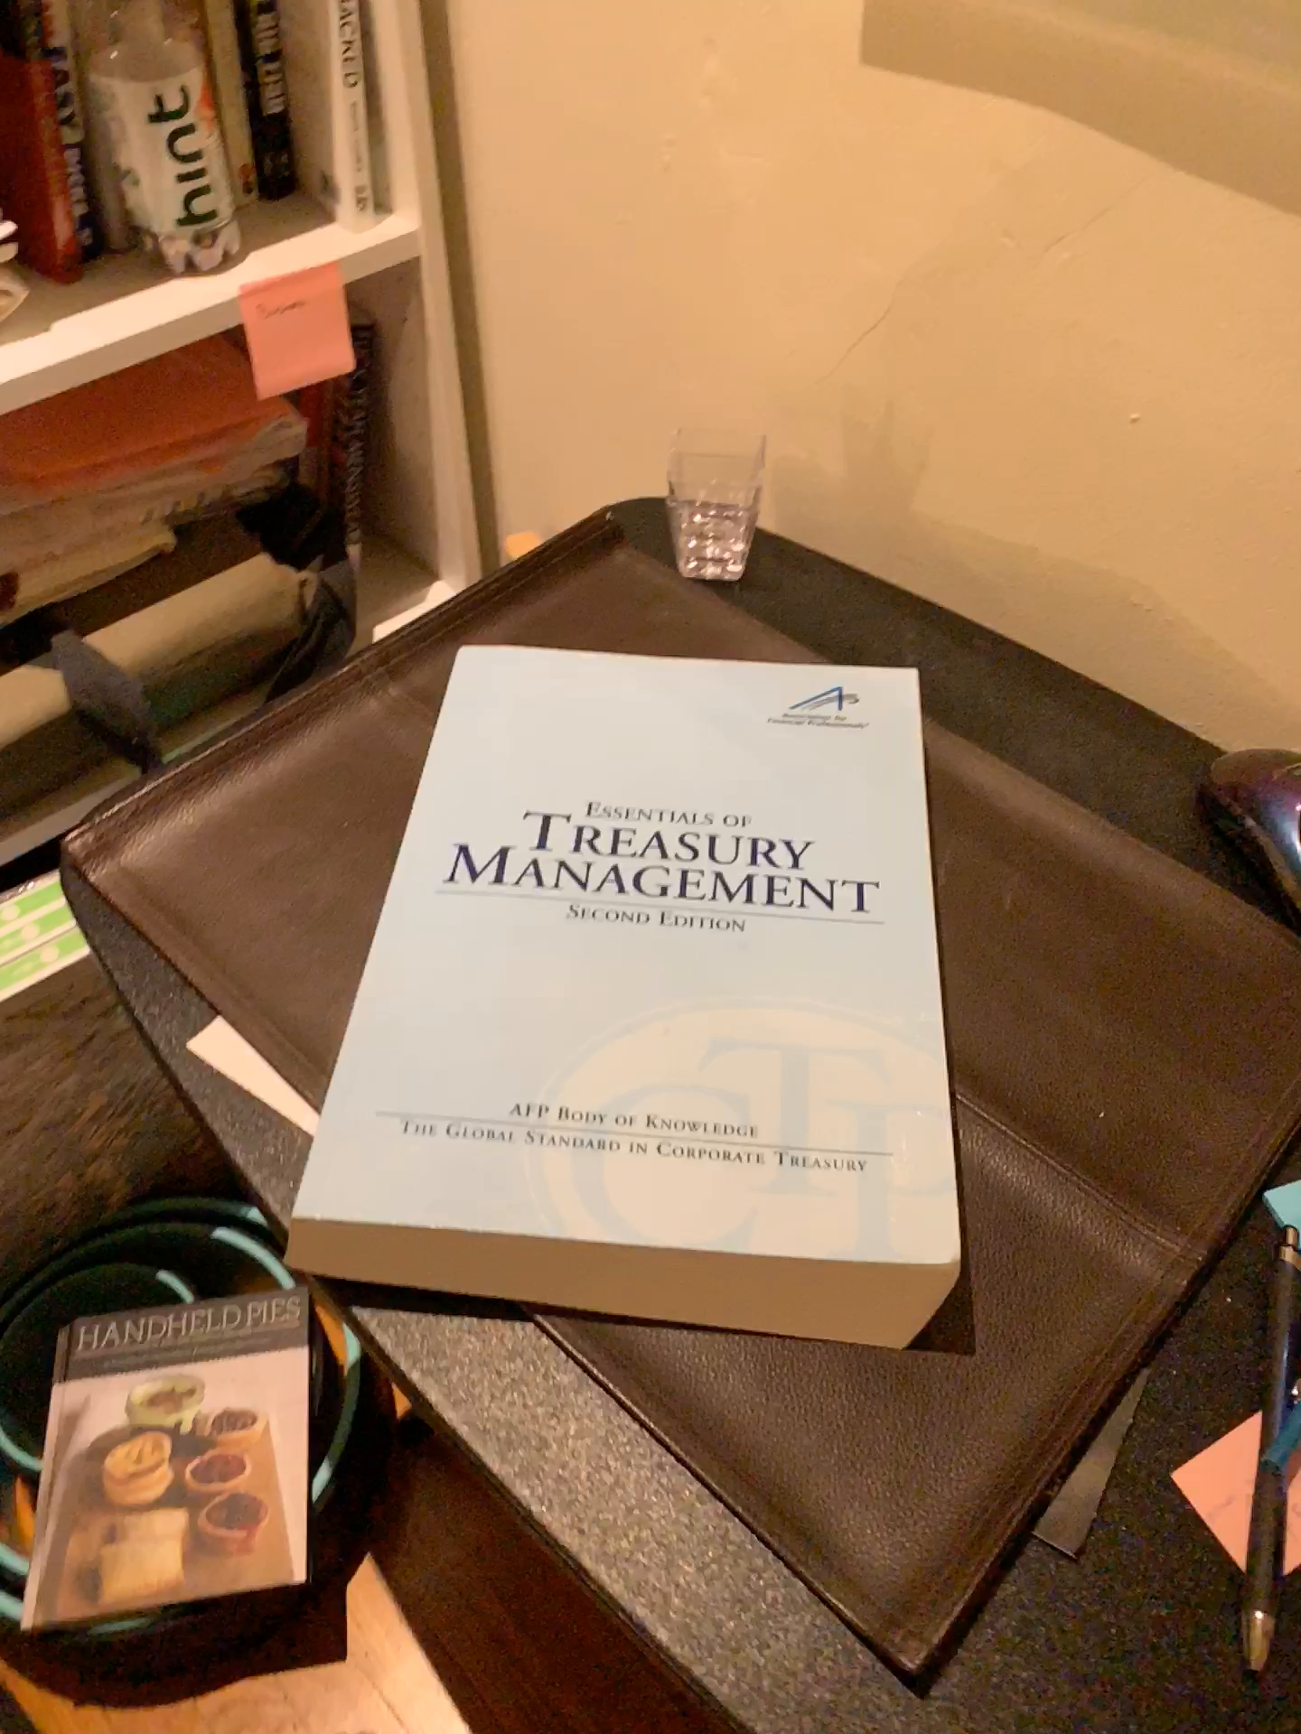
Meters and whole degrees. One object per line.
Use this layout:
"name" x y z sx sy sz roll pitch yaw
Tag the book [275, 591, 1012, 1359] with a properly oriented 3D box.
"book" 0.013 0.018 0.517 0.220 0.060 0.301 5 49 4
